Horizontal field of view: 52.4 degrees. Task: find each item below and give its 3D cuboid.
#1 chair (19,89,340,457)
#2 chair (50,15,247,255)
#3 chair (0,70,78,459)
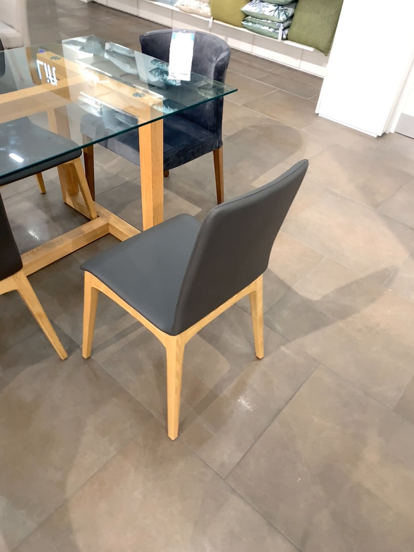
[{"bbox_3d":[-0.084,-0.015,1.294,0.538,0.813,0.566,35,50,28],"label":"chair"},{"bbox_3d":[-0.252,-0.671,1.989,0.544,0.813,0.590,29,47,23],"label":"chair"},{"bbox_3d":[-0.791,-0.026,1.197,0.498,0.833,0.526,32,49,26],"label":"chair"}]
